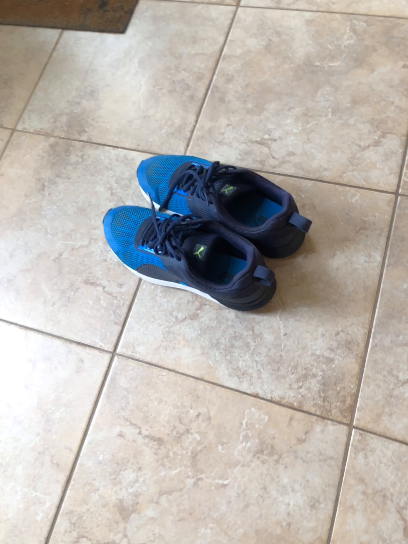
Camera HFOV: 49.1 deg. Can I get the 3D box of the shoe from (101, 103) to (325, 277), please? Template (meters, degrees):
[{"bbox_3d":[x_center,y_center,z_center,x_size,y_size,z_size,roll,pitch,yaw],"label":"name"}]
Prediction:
[{"bbox_3d":[0.012,-0.121,0.646,0.290,0.100,0.110,29,78,19],"label":"shoe"}]

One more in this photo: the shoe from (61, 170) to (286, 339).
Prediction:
[{"bbox_3d":[-0.039,-0.027,0.625,0.280,0.100,0.110,24,76,18],"label":"shoe"}]
